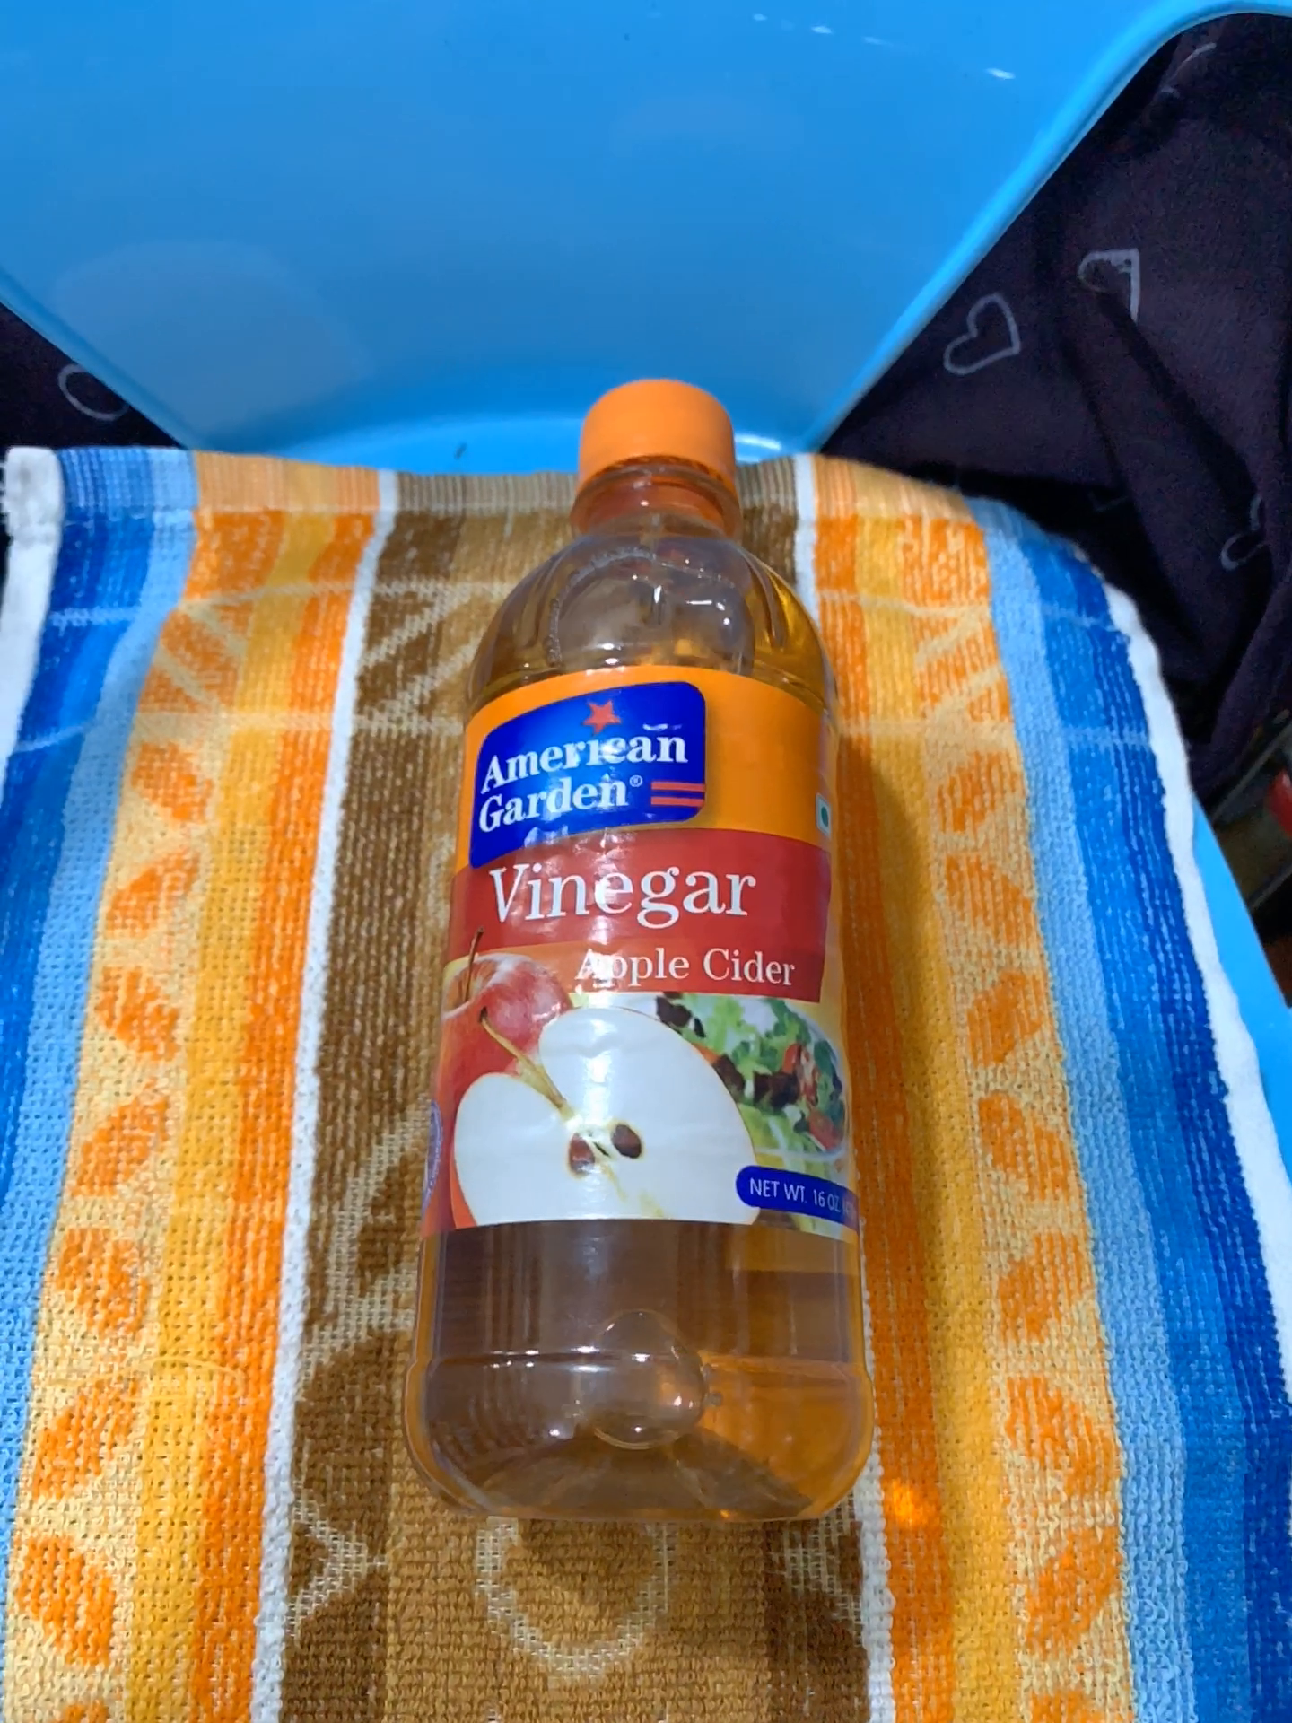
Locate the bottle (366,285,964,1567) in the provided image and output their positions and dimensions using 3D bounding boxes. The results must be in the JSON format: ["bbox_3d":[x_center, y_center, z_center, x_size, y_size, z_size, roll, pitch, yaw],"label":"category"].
[{"bbox_3d":[0.011,0.003,0.210,0.070,0.050,0.180,-2,68,12],"label":"bottle"}]
